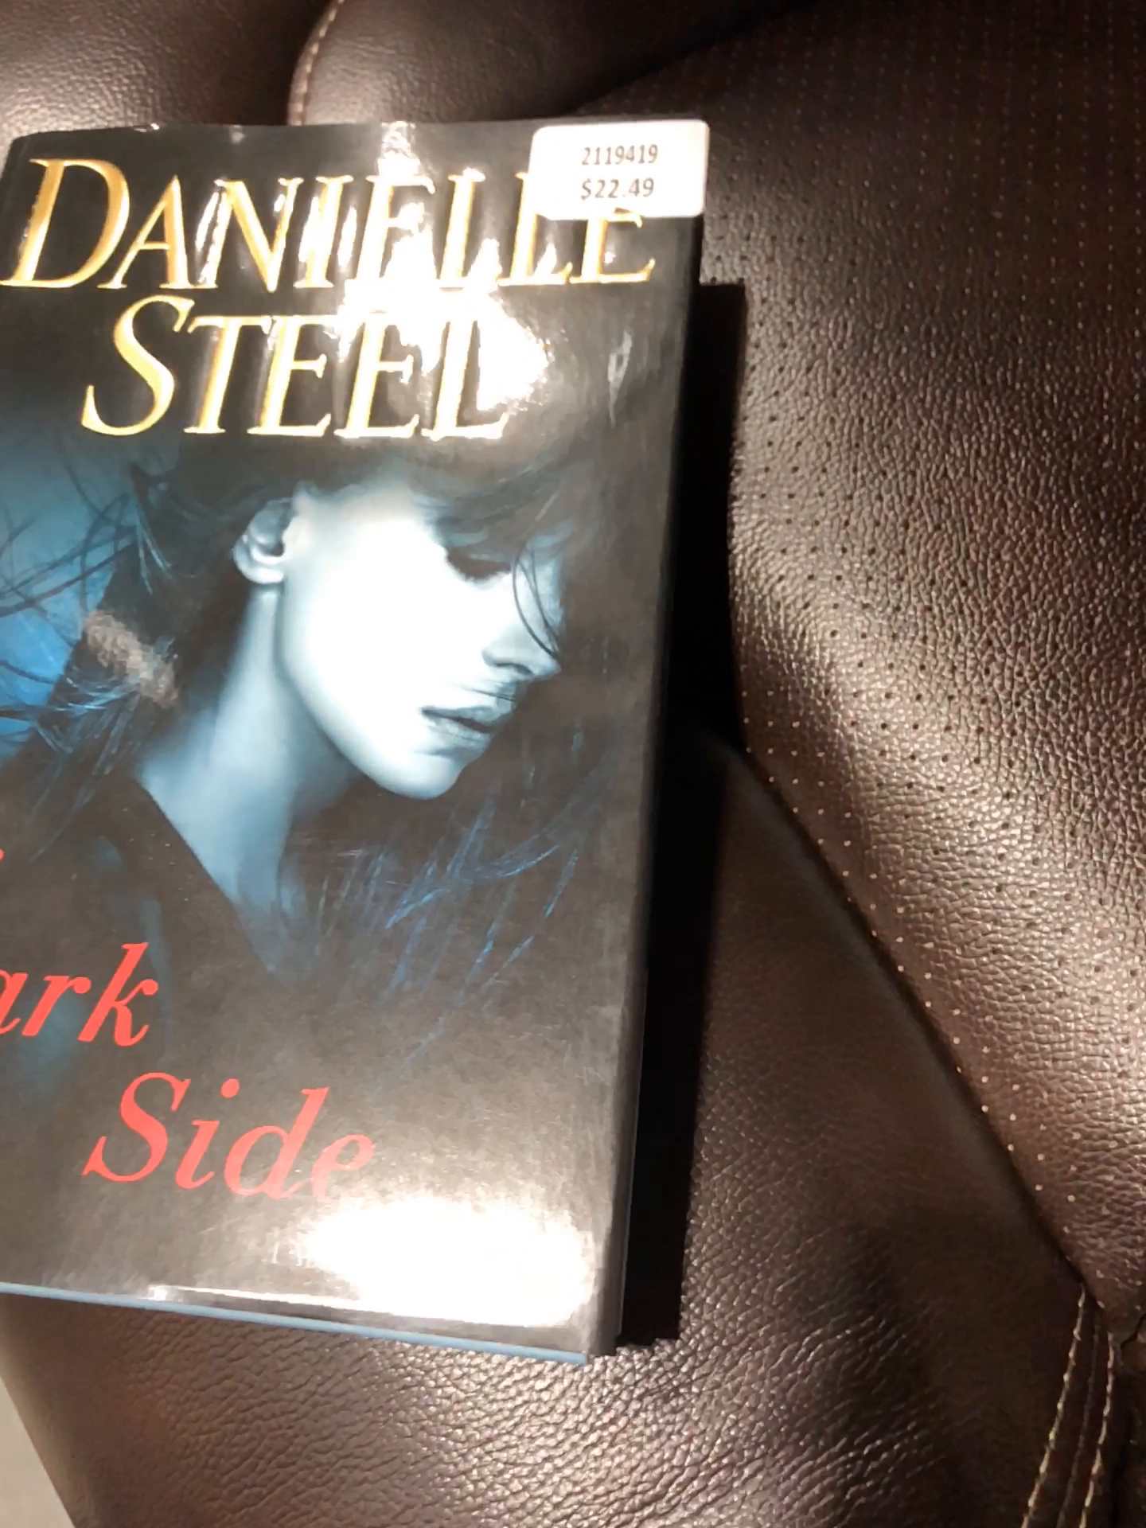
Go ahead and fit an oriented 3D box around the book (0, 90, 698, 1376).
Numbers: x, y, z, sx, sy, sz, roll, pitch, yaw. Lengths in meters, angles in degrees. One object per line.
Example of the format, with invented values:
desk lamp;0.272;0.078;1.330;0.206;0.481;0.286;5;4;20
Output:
book;-0.067;-0.022;0.253;0.168;0.040;0.237;3;71;9
